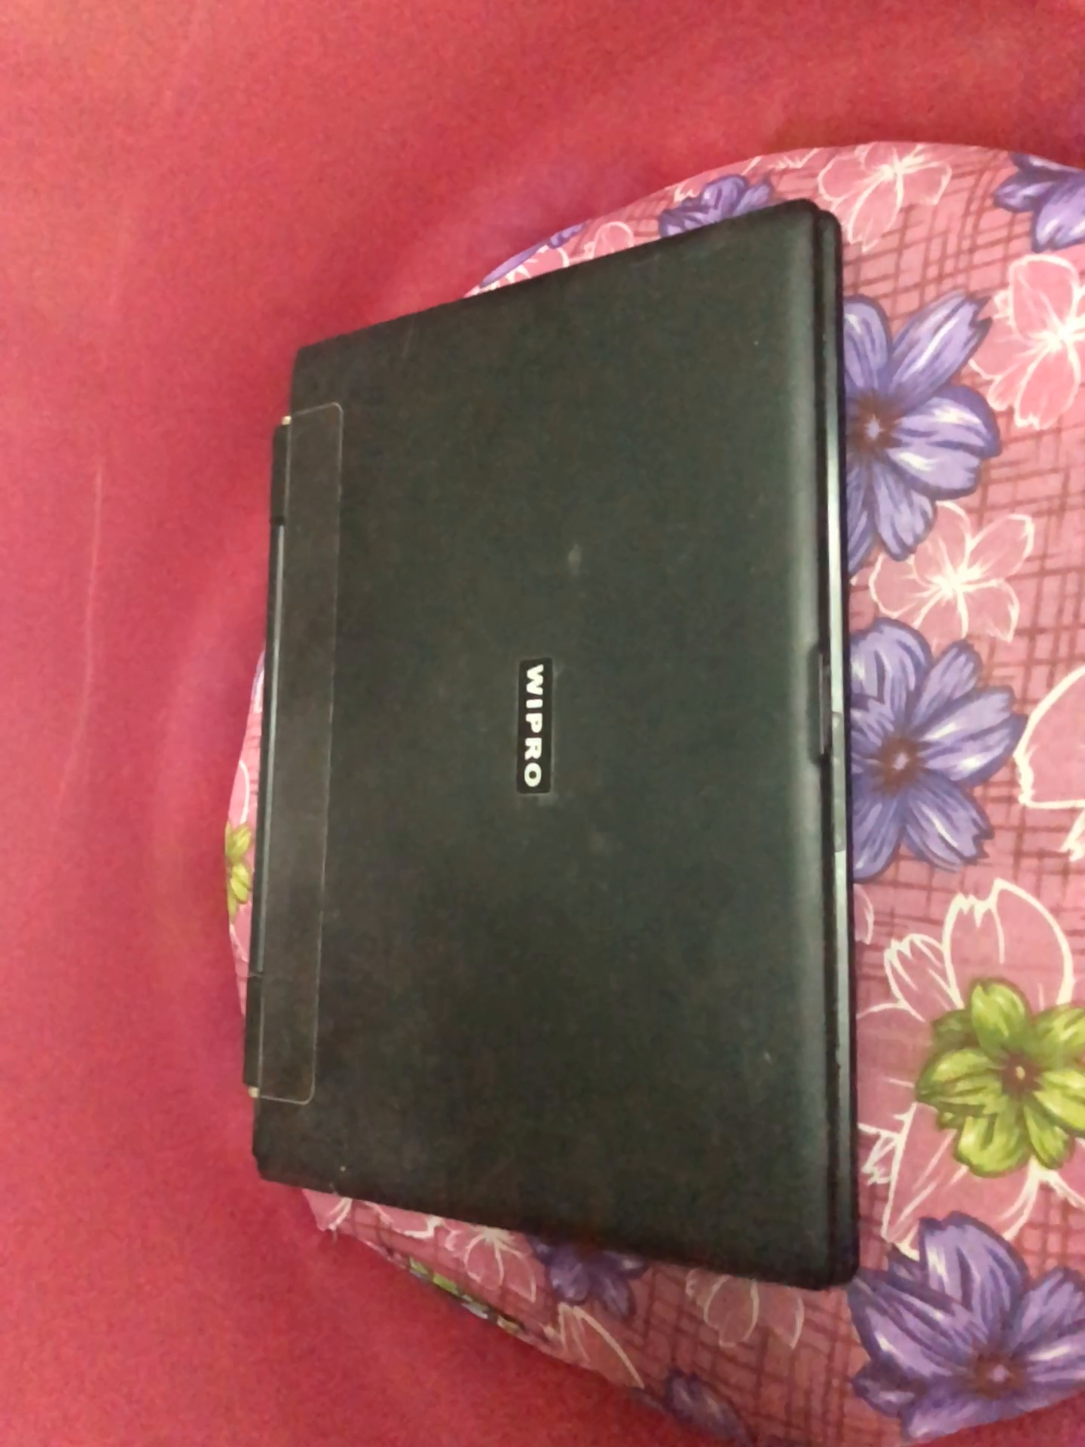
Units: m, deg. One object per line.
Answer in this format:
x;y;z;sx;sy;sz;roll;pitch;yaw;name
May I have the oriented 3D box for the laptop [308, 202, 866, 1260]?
0.005;-0.001;0.425;0.221;0.006;0.322;-3;82;34;laptop
